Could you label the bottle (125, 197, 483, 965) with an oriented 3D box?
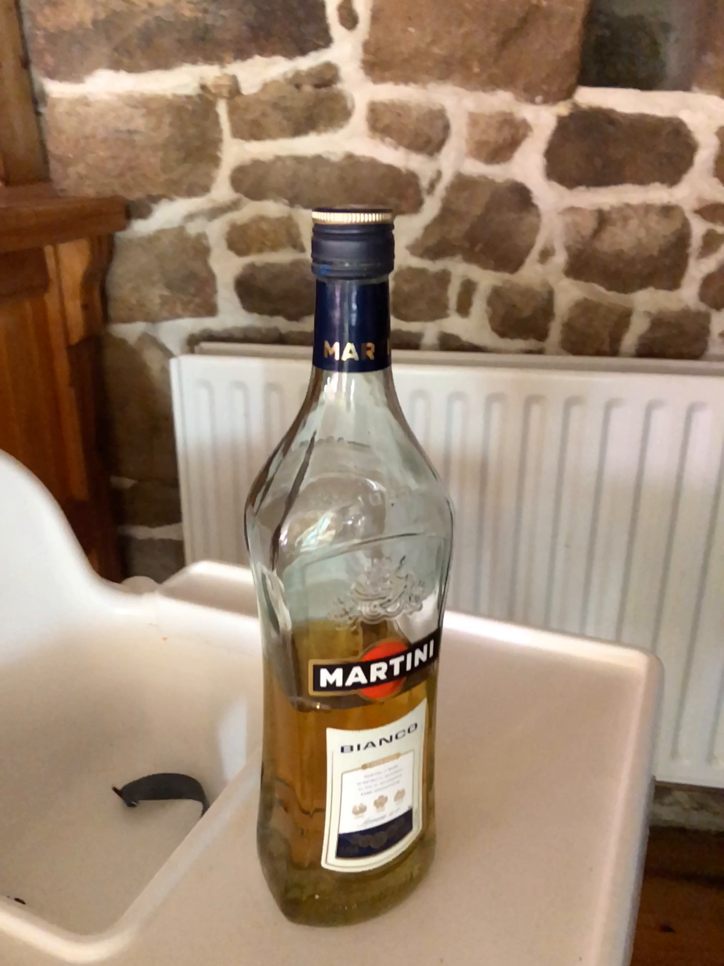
[{"bbox_3d":[-0.022,0.048,0.347,0.110,0.318,0.080,-9,23,-20],"label":"bottle"}]
